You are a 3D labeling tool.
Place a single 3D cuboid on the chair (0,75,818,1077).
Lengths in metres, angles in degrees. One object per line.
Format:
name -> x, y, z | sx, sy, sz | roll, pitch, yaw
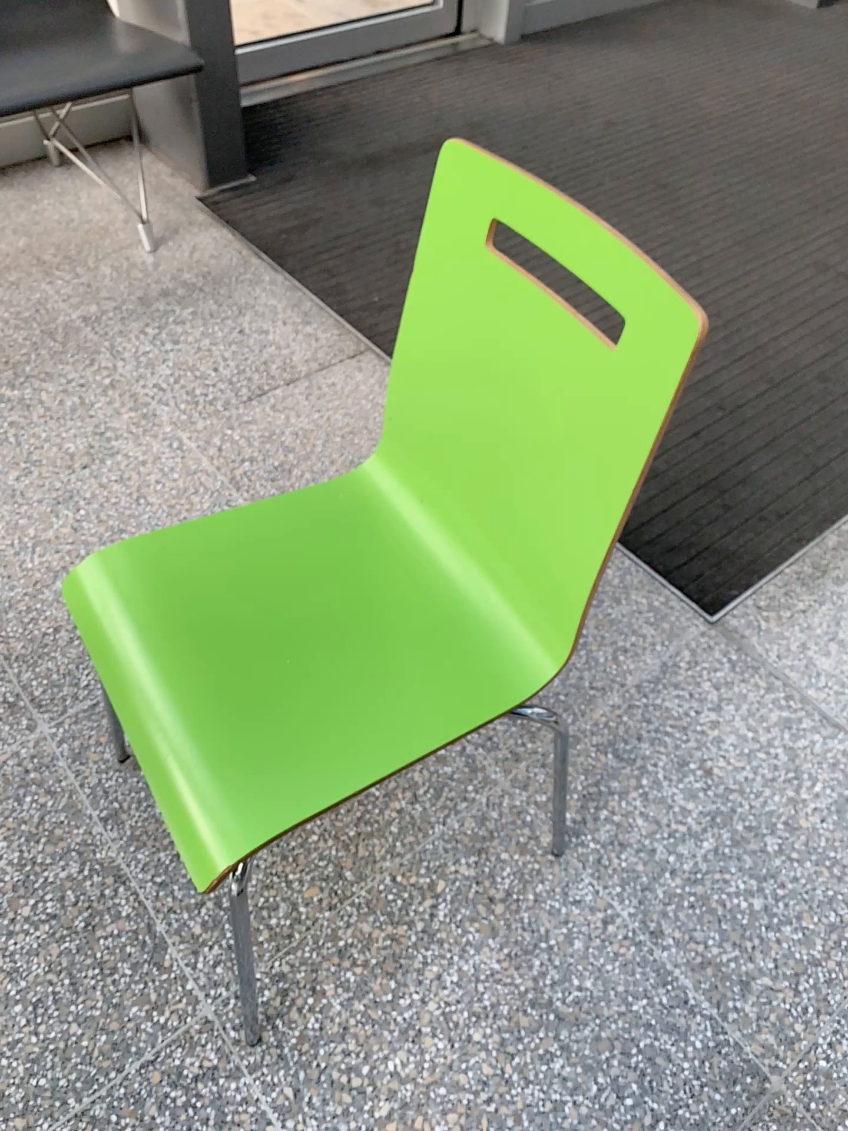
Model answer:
chair -> -0.114, 0.047, 0.961 | 0.531, 0.833, 0.543 | -25, 55, -23
